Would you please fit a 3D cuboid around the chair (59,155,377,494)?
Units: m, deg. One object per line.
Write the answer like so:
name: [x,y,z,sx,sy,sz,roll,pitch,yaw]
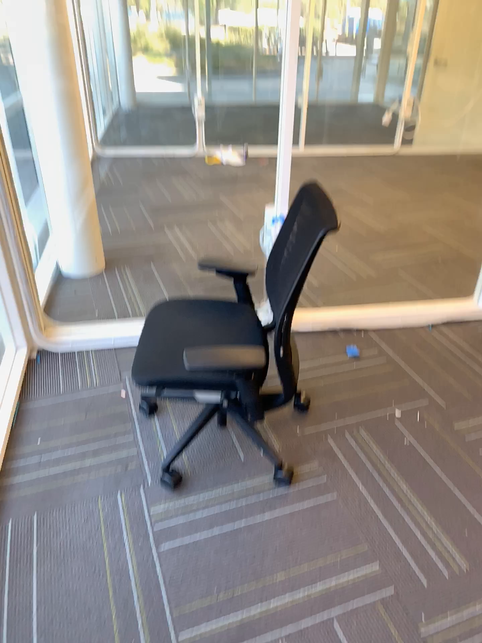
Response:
chair: [-0.063,-0.009,1.662,0.730,0.895,0.704,1,32,-1]
